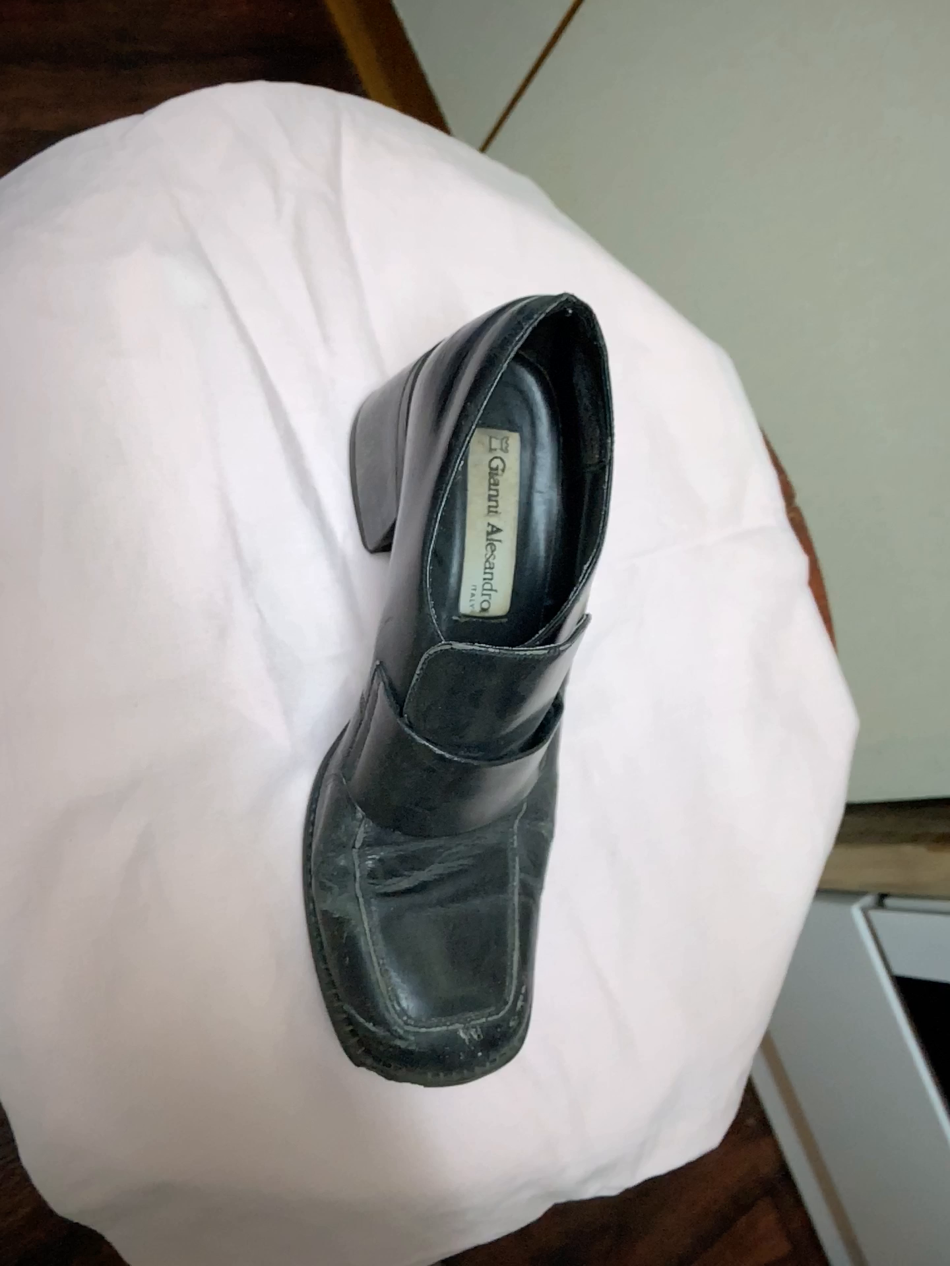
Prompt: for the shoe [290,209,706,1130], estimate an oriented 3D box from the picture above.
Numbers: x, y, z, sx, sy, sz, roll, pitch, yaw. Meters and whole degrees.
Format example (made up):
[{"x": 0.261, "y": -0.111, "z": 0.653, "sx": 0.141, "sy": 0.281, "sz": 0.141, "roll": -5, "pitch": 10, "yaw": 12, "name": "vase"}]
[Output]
[{"x": 0.002, "y": 0.010, "z": 0.312, "sx": 0.090, "sy": 0.092, "sz": 0.240, "roll": 6, "pitch": 76, "yaw": -23, "name": "shoe"}]
